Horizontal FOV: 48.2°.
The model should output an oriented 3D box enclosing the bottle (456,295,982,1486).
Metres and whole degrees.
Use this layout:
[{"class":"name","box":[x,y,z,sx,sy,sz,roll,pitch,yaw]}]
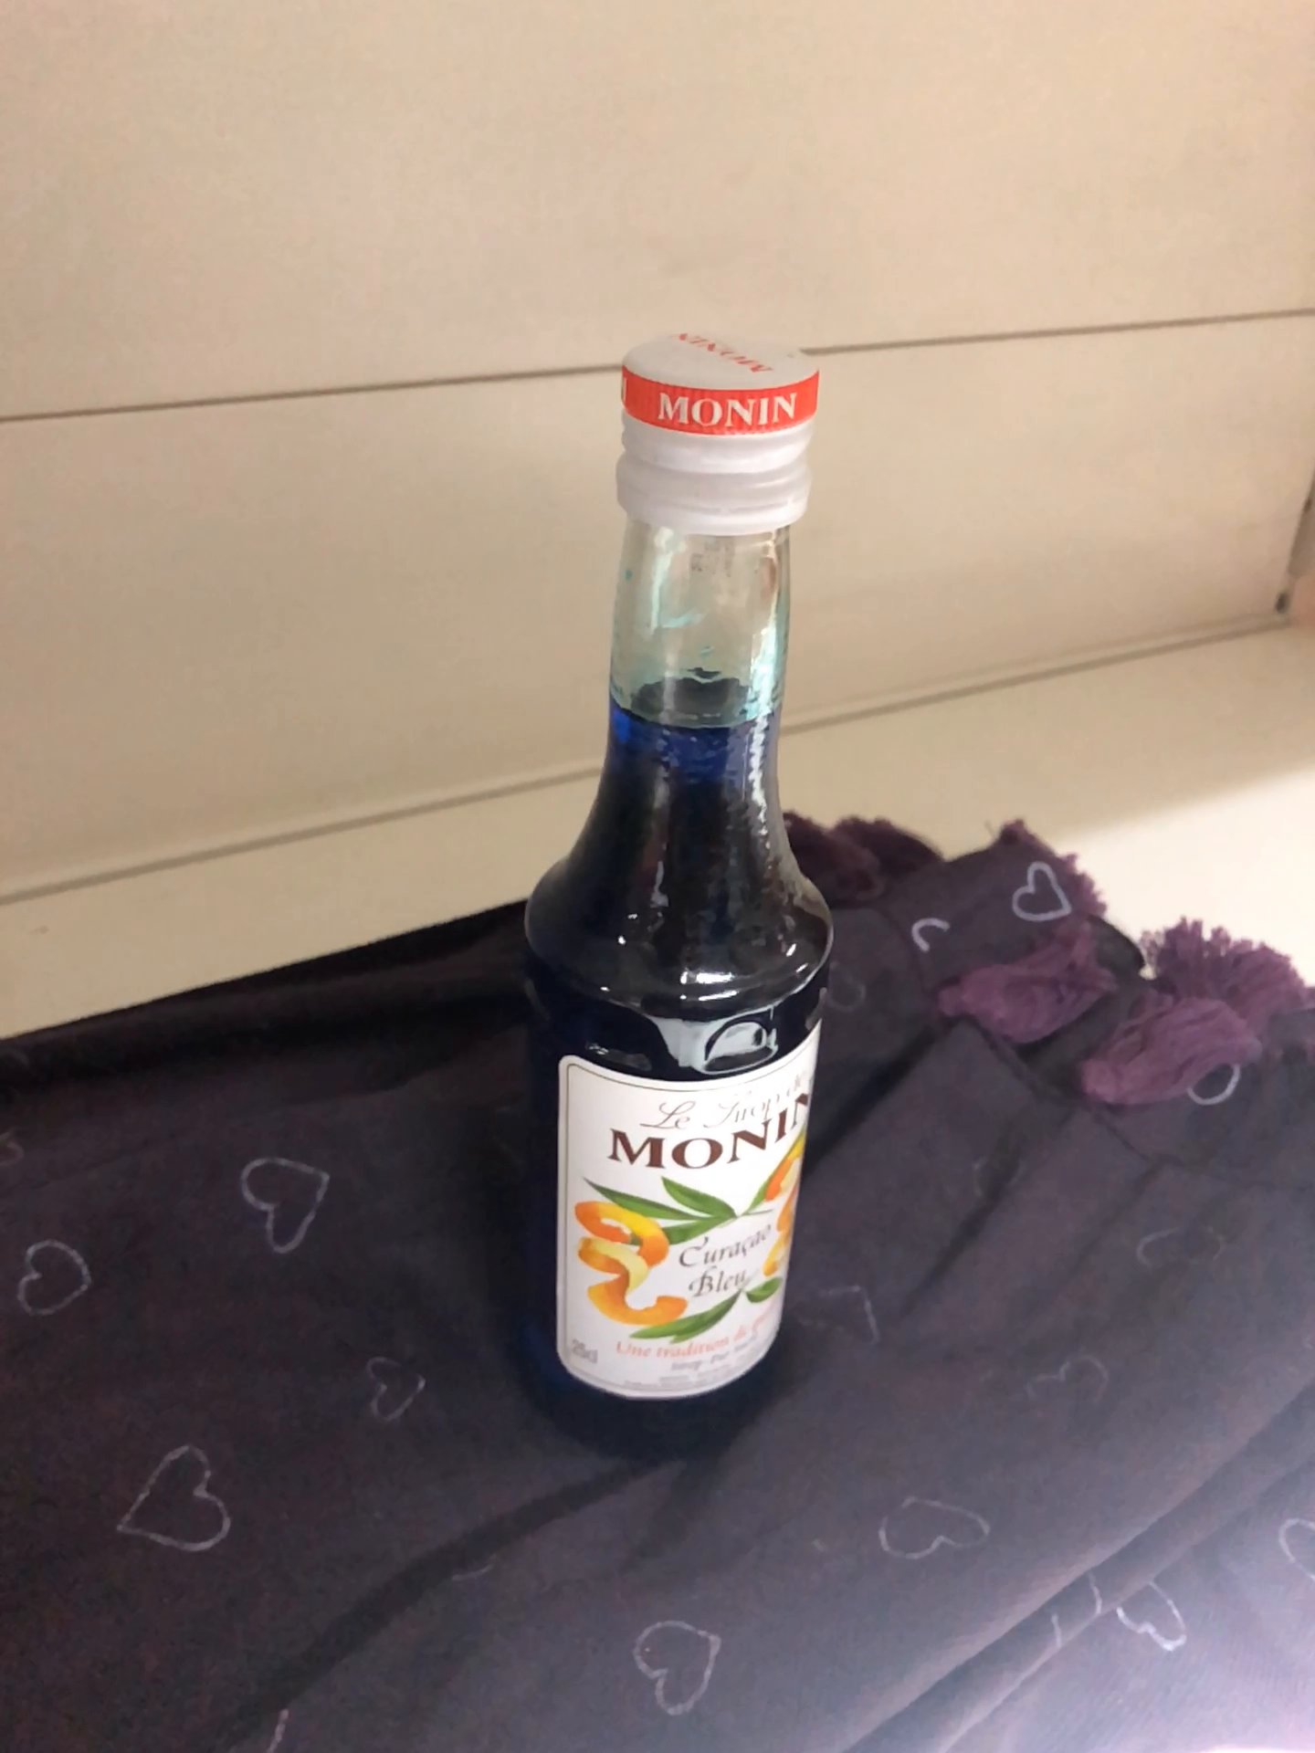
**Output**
[{"class":"bottle","box":[0.004,0.011,0.267,0.060,0.209,0.050,-13,33,-24]}]
